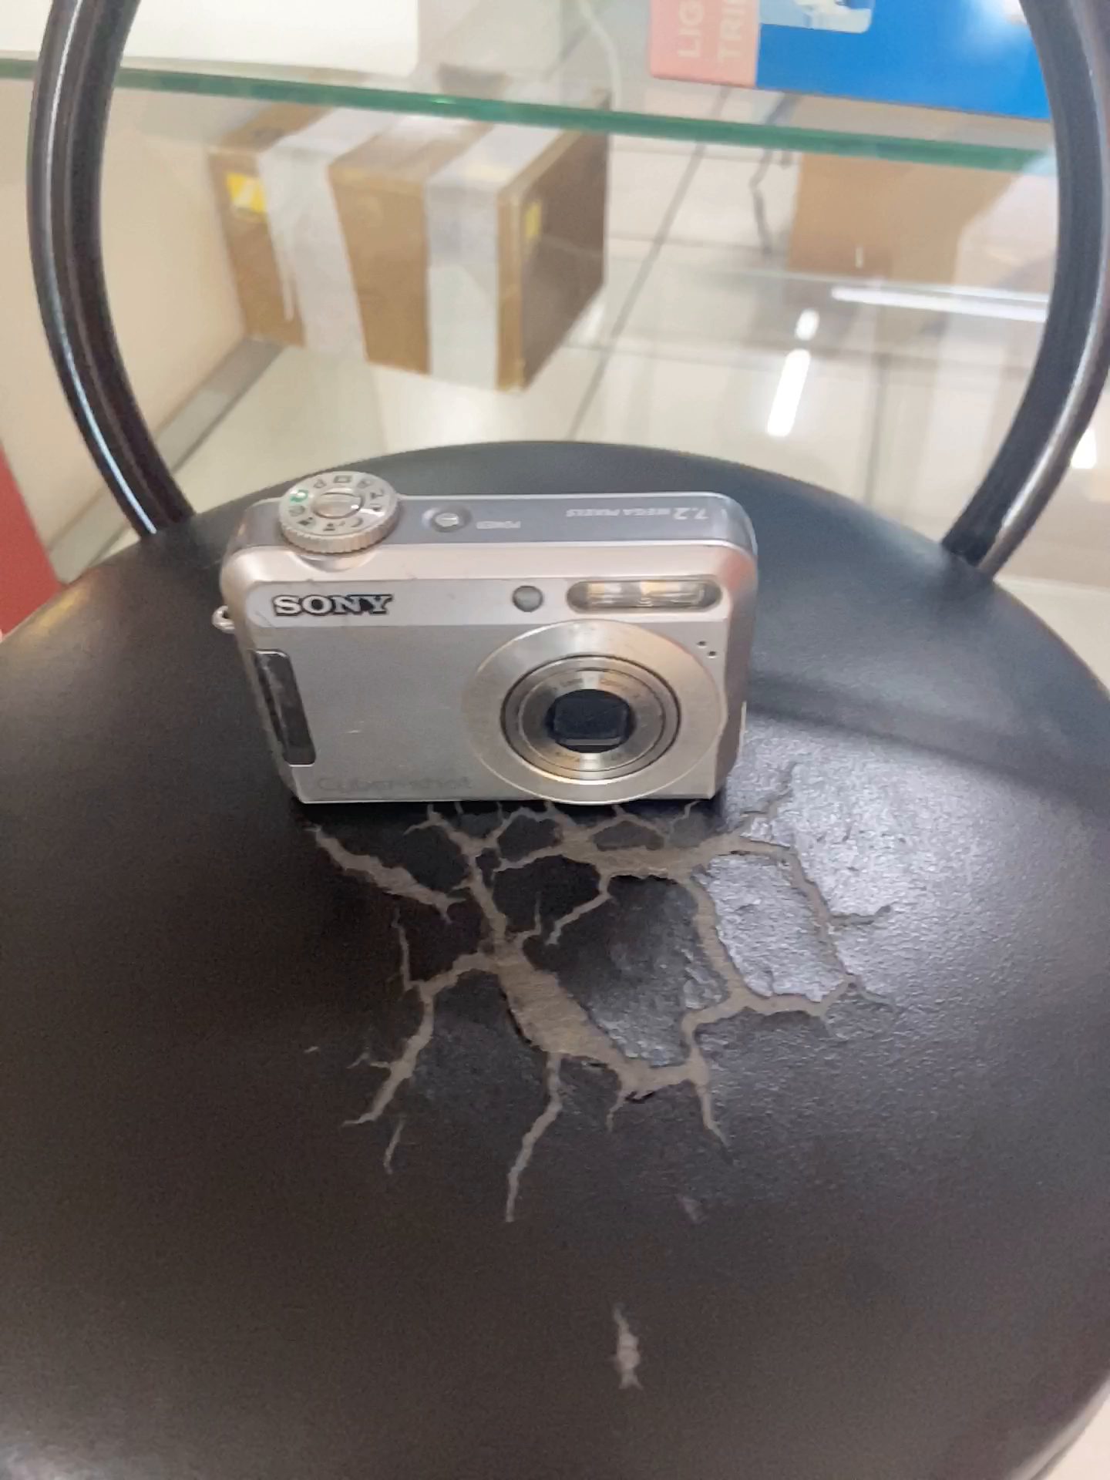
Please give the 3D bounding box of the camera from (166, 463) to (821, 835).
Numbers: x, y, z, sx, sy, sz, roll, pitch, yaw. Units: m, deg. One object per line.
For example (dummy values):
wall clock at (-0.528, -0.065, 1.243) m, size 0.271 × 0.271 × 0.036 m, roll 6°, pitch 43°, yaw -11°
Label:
camera at (-0.009, -0.016, 0.209) m, size 0.100 × 0.050 × 0.040 m, roll -2°, pitch 45°, yaw 0°
